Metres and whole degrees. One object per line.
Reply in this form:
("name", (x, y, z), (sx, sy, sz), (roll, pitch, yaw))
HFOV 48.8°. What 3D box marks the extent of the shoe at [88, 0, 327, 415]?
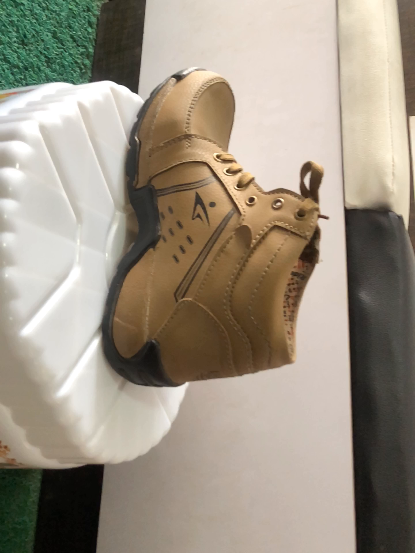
("shoe", (0.025, -0.062, 0.349), (0.141, 0.109, 0.300), (48, 43, -58))
